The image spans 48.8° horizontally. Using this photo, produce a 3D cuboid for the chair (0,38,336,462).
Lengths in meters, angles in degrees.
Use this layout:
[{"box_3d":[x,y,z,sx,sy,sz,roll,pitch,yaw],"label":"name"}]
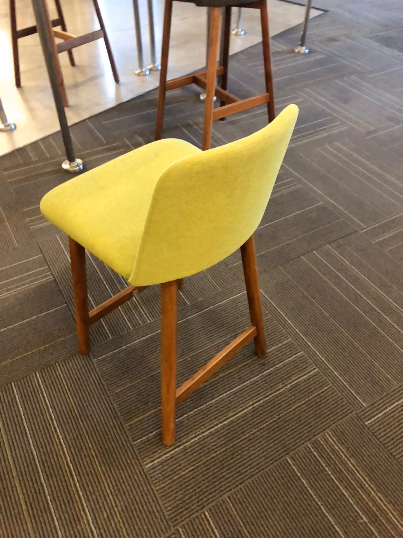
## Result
[{"box_3d":[-0.091,-0.023,1.168,0.512,0.876,0.461,35,54,30],"label":"chair"}]
